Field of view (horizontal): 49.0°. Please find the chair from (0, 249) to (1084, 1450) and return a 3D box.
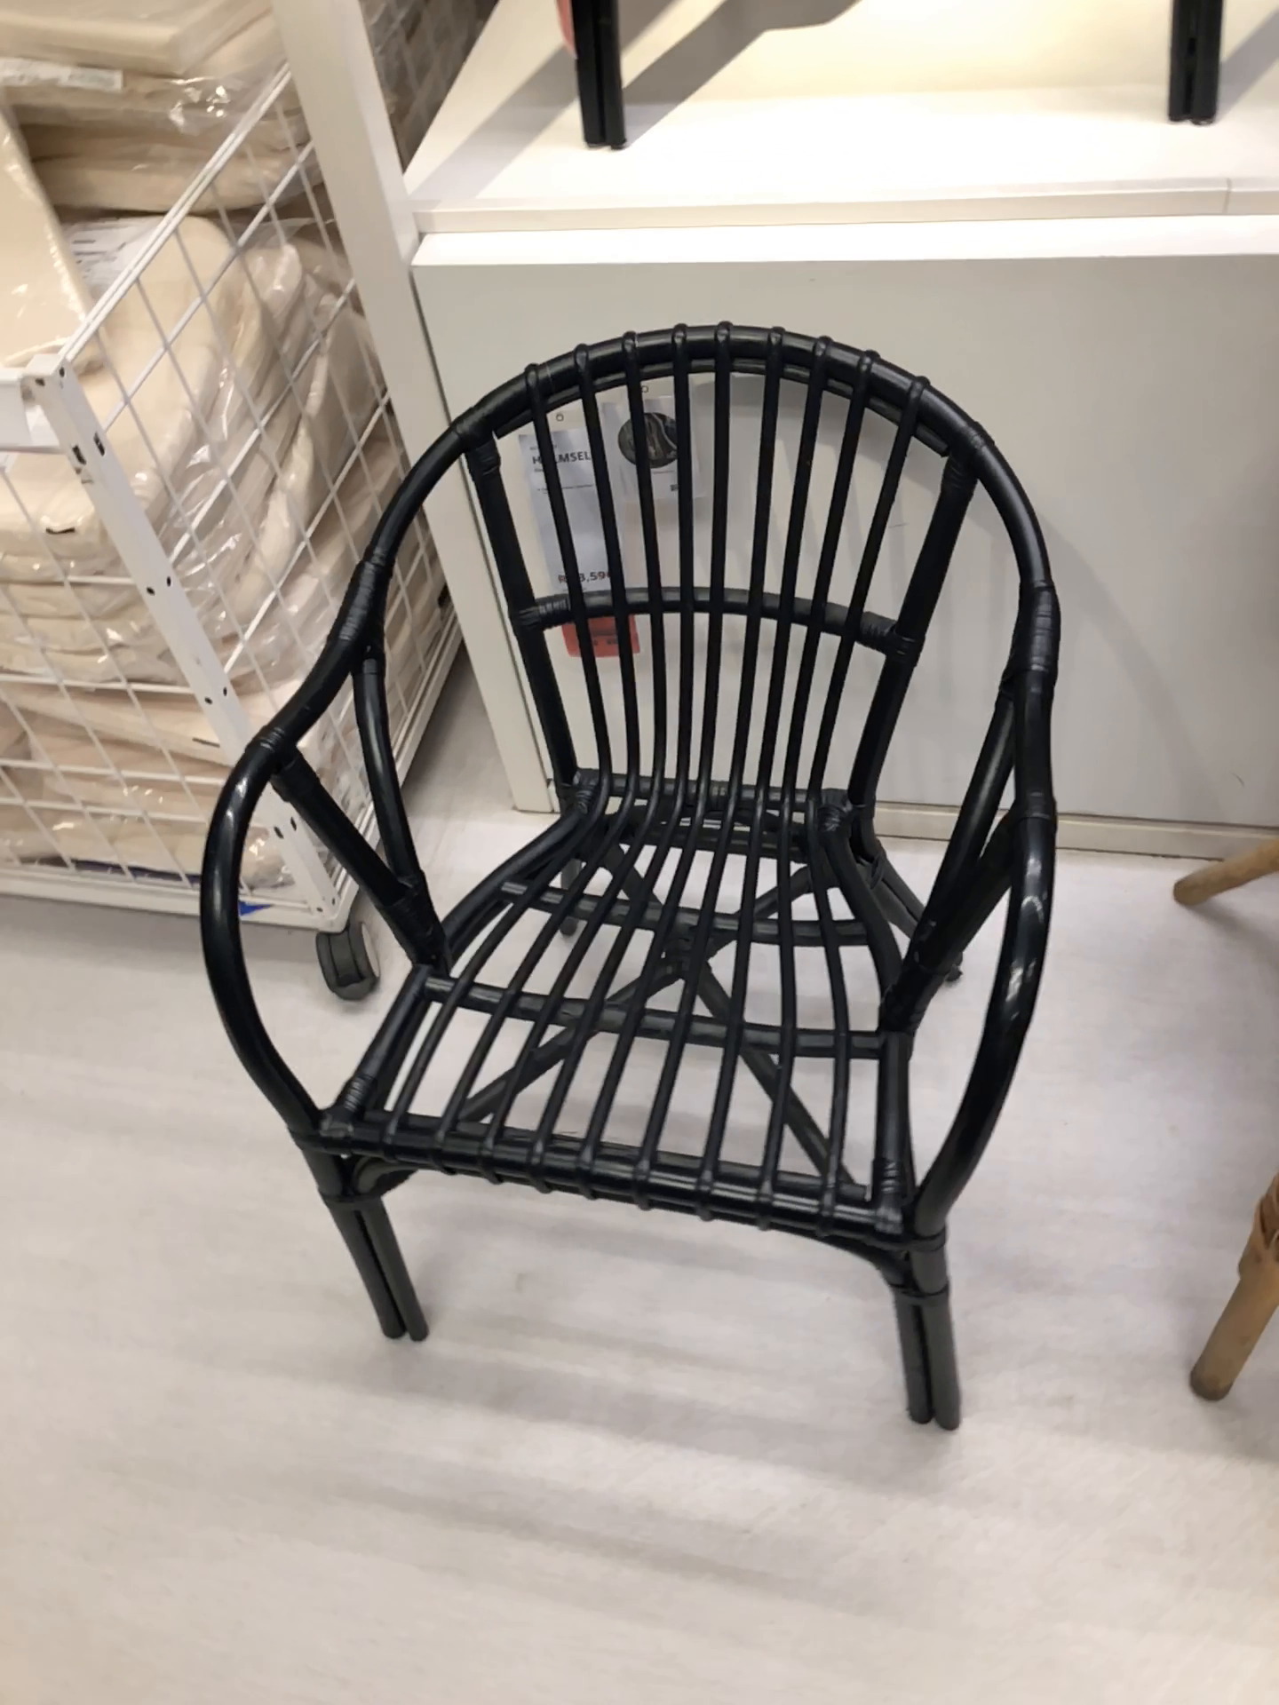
[{"bbox_3d":[-0.007,0.039,1.042,0.550,0.756,0.472,5,53,13],"label":"chair"}]
